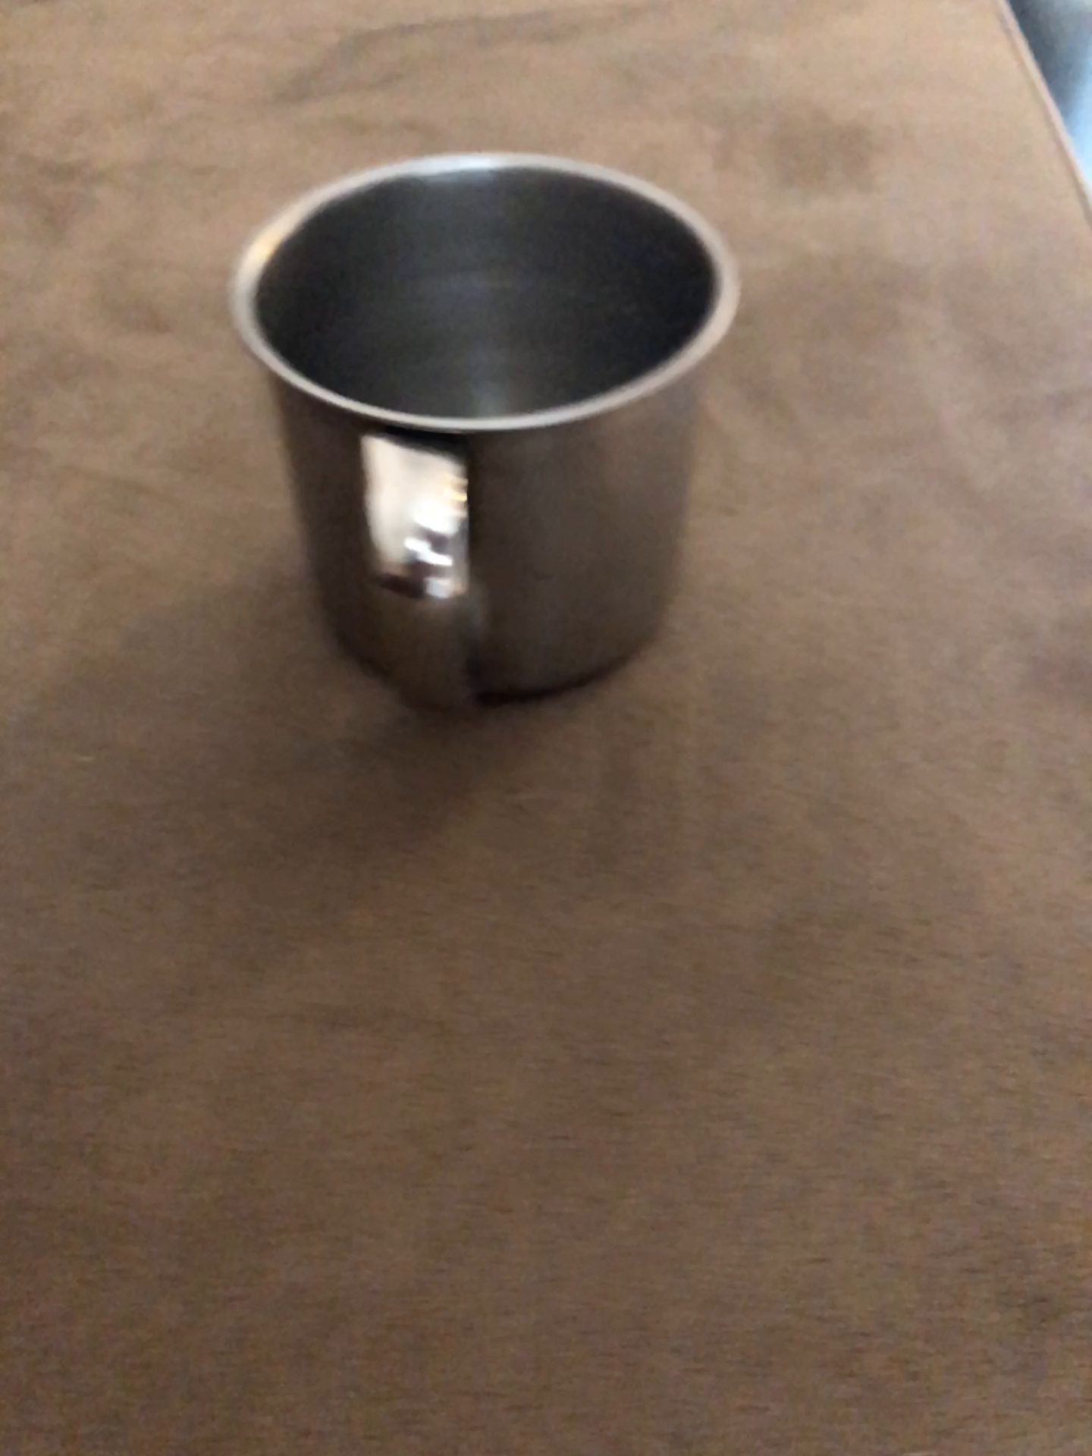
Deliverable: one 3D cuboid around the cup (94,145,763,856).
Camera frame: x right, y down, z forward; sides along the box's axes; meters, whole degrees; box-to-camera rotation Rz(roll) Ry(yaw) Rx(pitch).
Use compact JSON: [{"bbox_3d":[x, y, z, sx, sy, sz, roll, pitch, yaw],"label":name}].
[{"bbox_3d":[-0.011,-0.045,0.226,0.090,0.070,0.111,3,51,4],"label":"cup"}]
